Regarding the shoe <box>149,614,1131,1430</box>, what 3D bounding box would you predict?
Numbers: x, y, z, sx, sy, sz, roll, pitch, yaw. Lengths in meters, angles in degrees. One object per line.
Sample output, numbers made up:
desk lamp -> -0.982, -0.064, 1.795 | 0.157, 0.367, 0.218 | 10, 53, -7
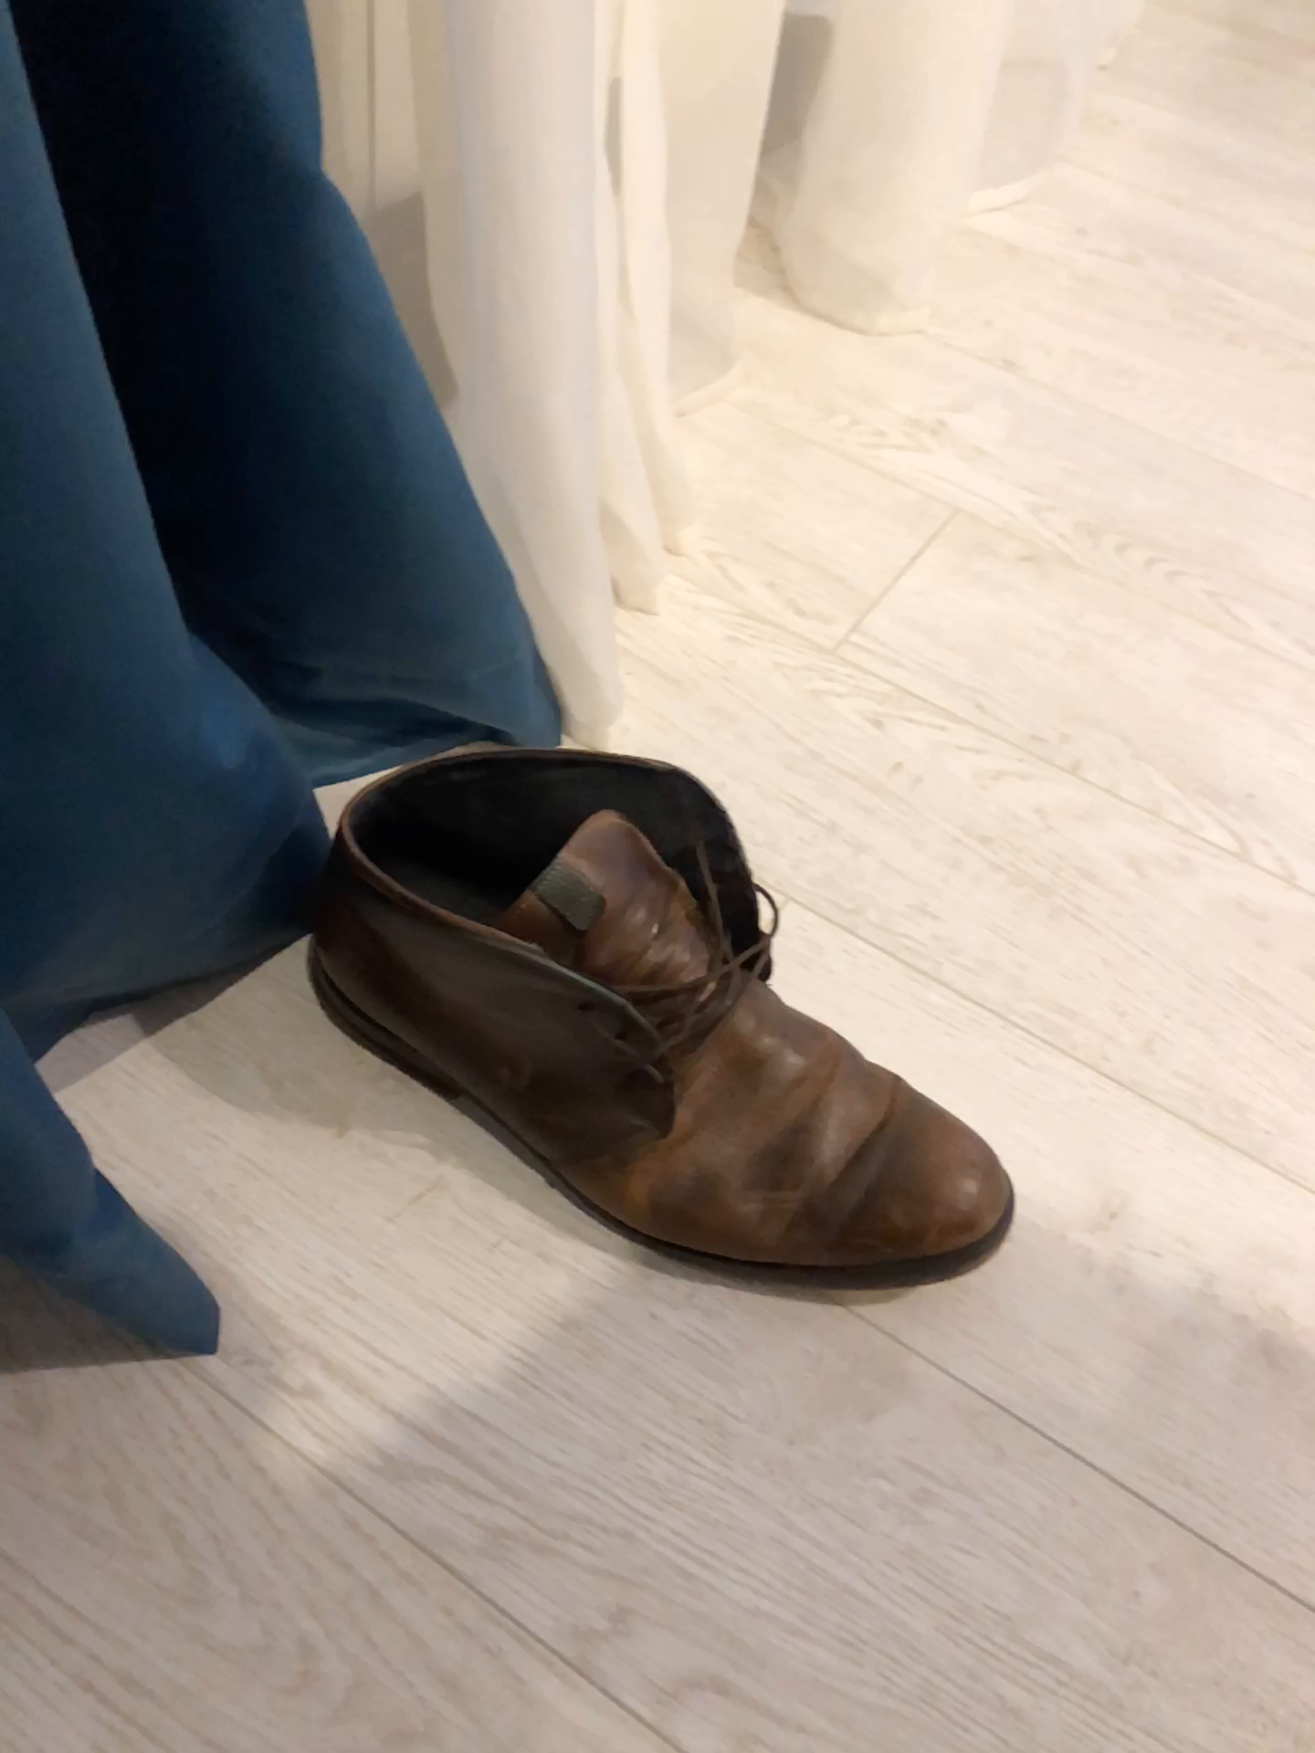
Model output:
shoe -> -0.012, 0.053, 0.565 | 0.320, 0.159, 0.131 | 25, 53, 14
